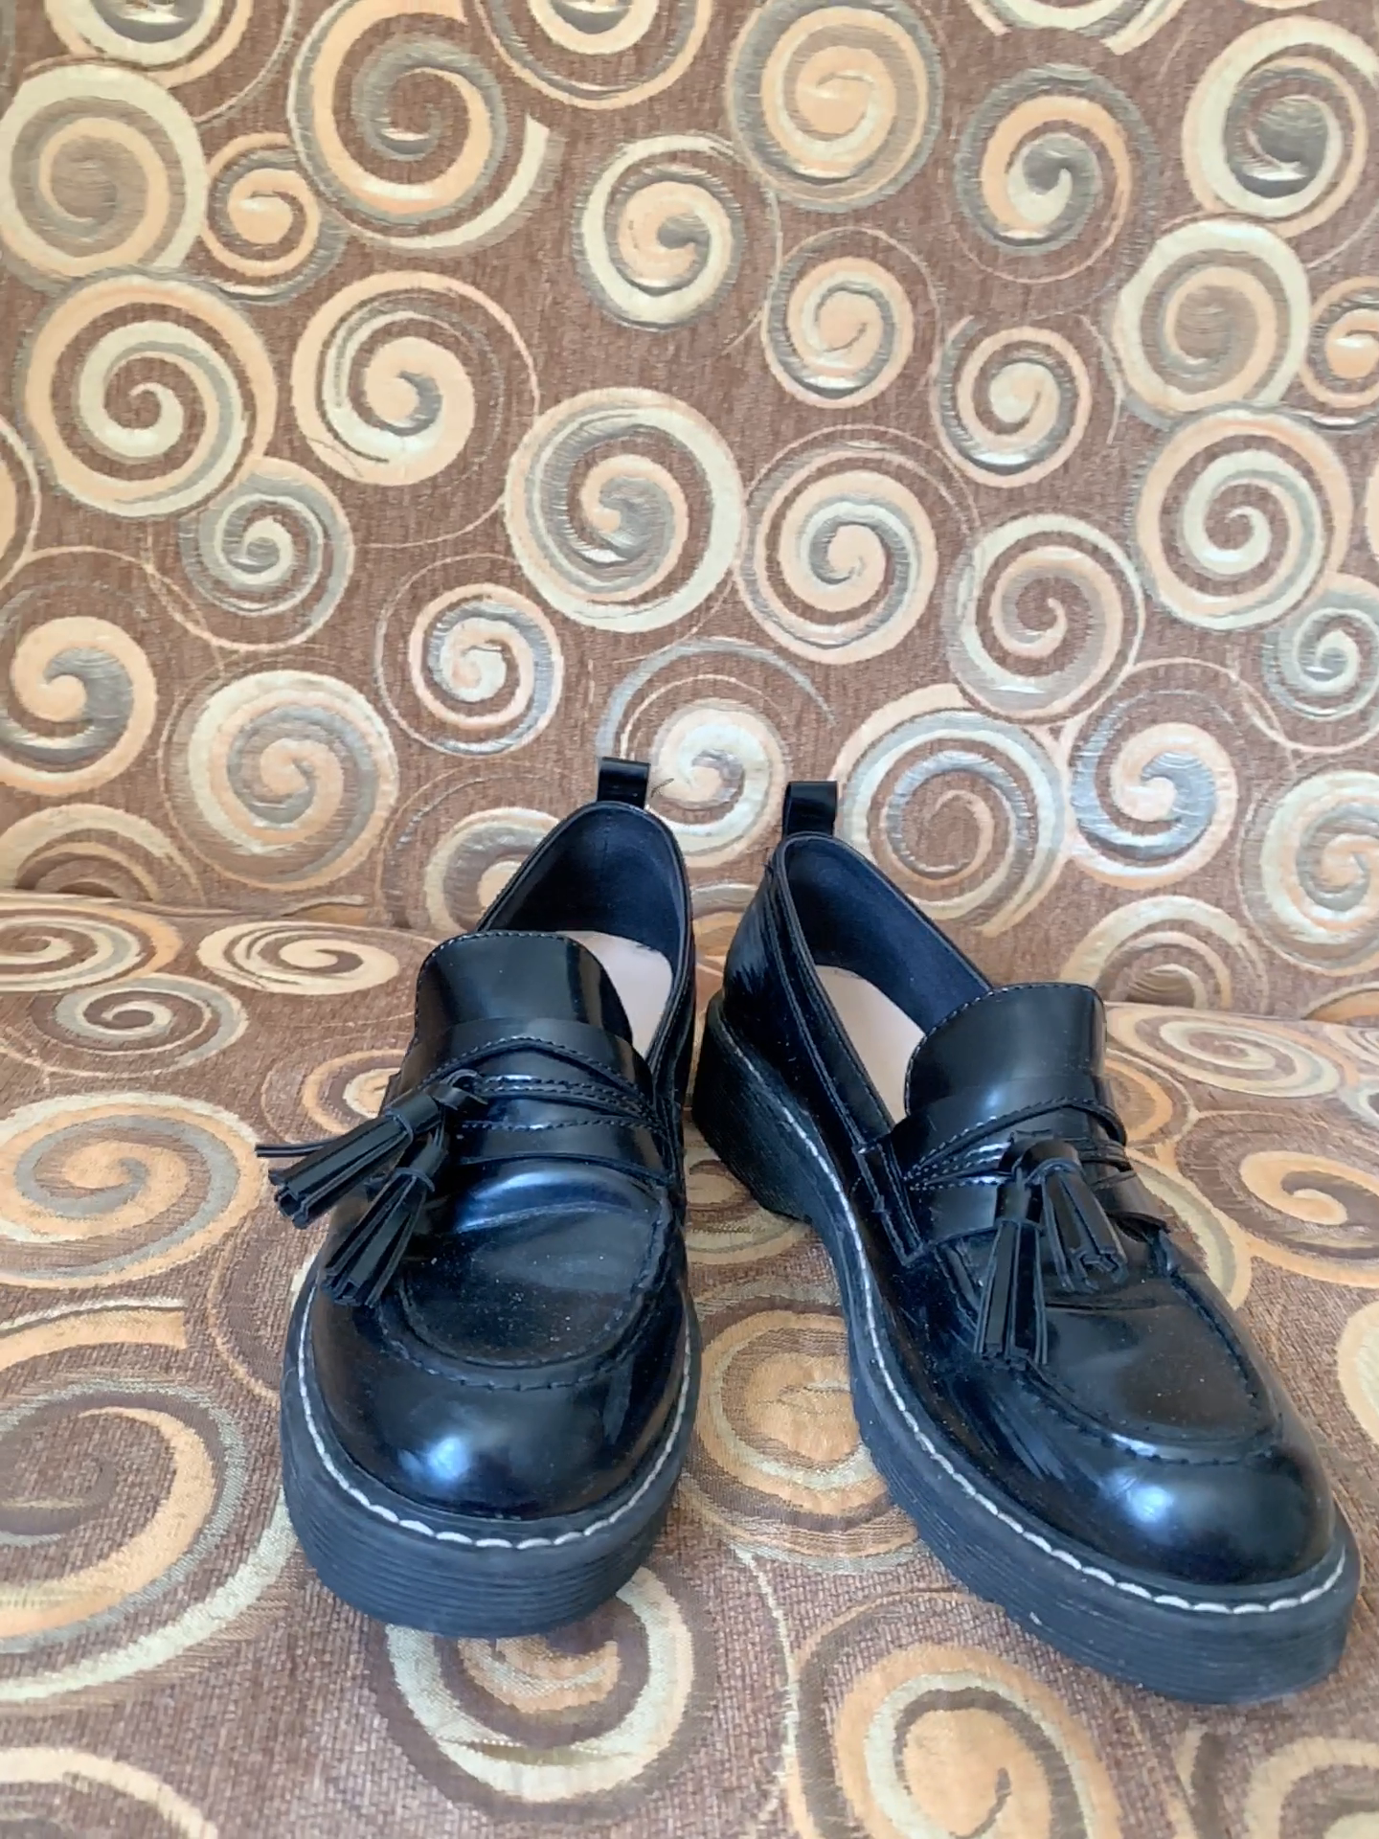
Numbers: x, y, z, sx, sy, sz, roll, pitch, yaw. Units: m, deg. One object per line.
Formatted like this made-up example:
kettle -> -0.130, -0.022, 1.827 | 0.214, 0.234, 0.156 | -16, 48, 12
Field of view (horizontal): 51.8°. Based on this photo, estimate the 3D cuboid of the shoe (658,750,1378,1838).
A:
shoe -> 0.077, 0.053, 0.330 | 0.090, 0.099, 0.241 | -2, 29, -20

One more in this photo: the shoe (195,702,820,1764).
shoe -> -0.025, 0.042, 0.332 | 0.090, 0.099, 0.241 | 8, 28, 0
